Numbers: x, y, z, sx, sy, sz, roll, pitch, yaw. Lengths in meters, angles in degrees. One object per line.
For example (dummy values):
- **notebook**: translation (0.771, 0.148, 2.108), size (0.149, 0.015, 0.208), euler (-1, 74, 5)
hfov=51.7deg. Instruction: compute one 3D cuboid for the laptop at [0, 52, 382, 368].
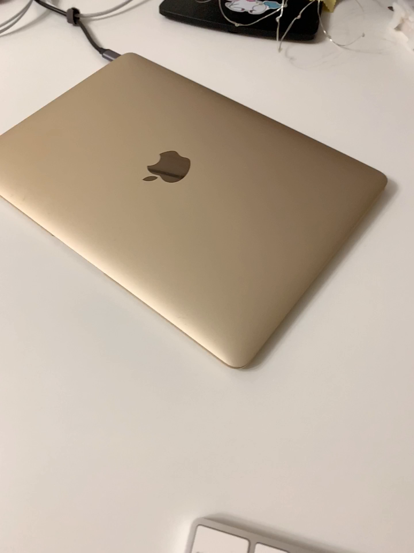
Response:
- **laptop**: translation (-0.025, -0.076, 0.327), size (0.256, 0.013, 0.173), euler (34, 67, 19)
